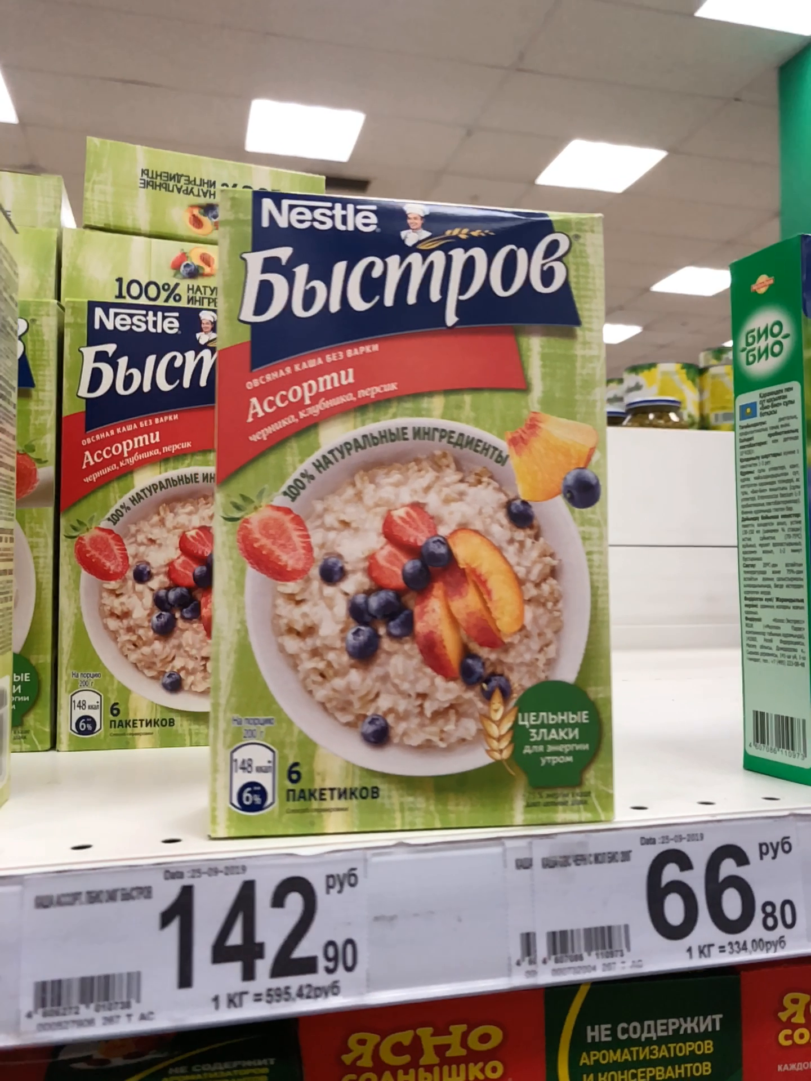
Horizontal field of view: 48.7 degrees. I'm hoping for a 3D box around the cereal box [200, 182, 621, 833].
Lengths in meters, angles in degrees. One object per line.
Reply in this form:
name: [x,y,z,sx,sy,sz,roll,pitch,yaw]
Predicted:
cereal box: [0.000,-0.011,0.308,0.130,0.200,0.050,0,-5,-8]
